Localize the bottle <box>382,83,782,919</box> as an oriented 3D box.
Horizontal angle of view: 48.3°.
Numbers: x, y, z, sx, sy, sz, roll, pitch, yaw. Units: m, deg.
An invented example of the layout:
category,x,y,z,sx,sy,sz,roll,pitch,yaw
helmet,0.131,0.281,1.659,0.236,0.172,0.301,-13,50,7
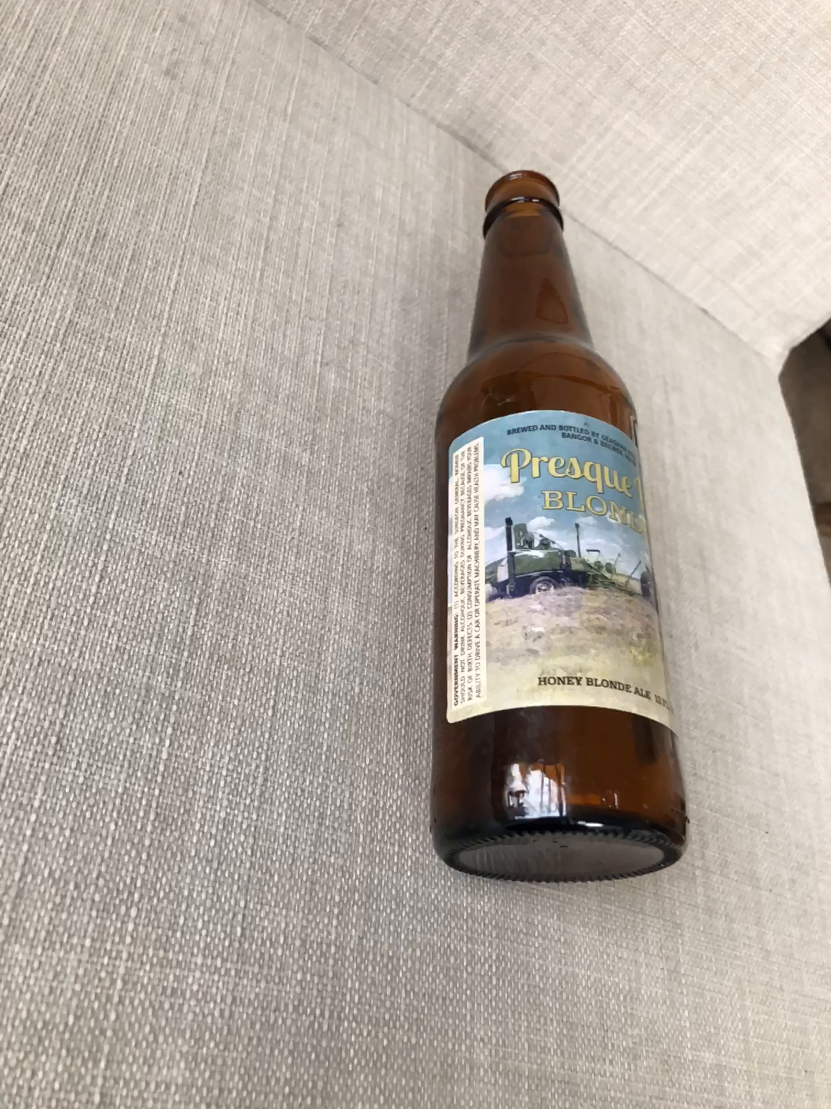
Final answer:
category,x,y,z,sx,sy,sz,roll,pitch,yaw
bottle,0.038,-0.026,0.264,0.066,0.059,0.231,15,57,-20
